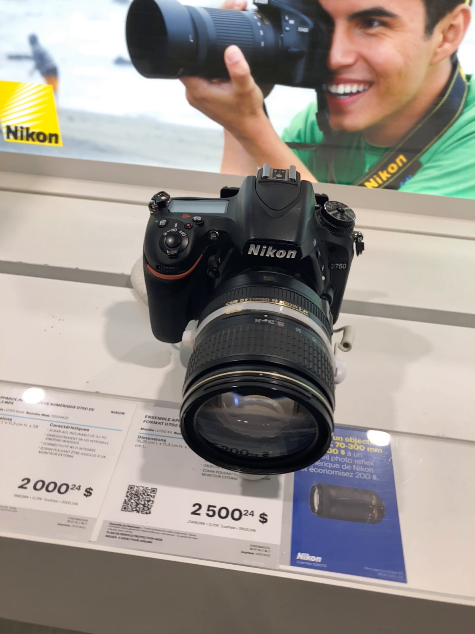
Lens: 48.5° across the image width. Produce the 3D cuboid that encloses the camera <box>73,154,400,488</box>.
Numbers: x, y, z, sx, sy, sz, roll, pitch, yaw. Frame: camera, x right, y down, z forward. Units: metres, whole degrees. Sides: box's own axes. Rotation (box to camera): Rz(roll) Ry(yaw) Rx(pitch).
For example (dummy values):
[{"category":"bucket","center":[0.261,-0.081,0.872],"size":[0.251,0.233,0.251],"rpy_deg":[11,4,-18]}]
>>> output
[{"category":"camera","center":[0.003,-0.011,0.324],"size":[0.138,0.099,0.184],"rpy_deg":[5,39,1]}]
